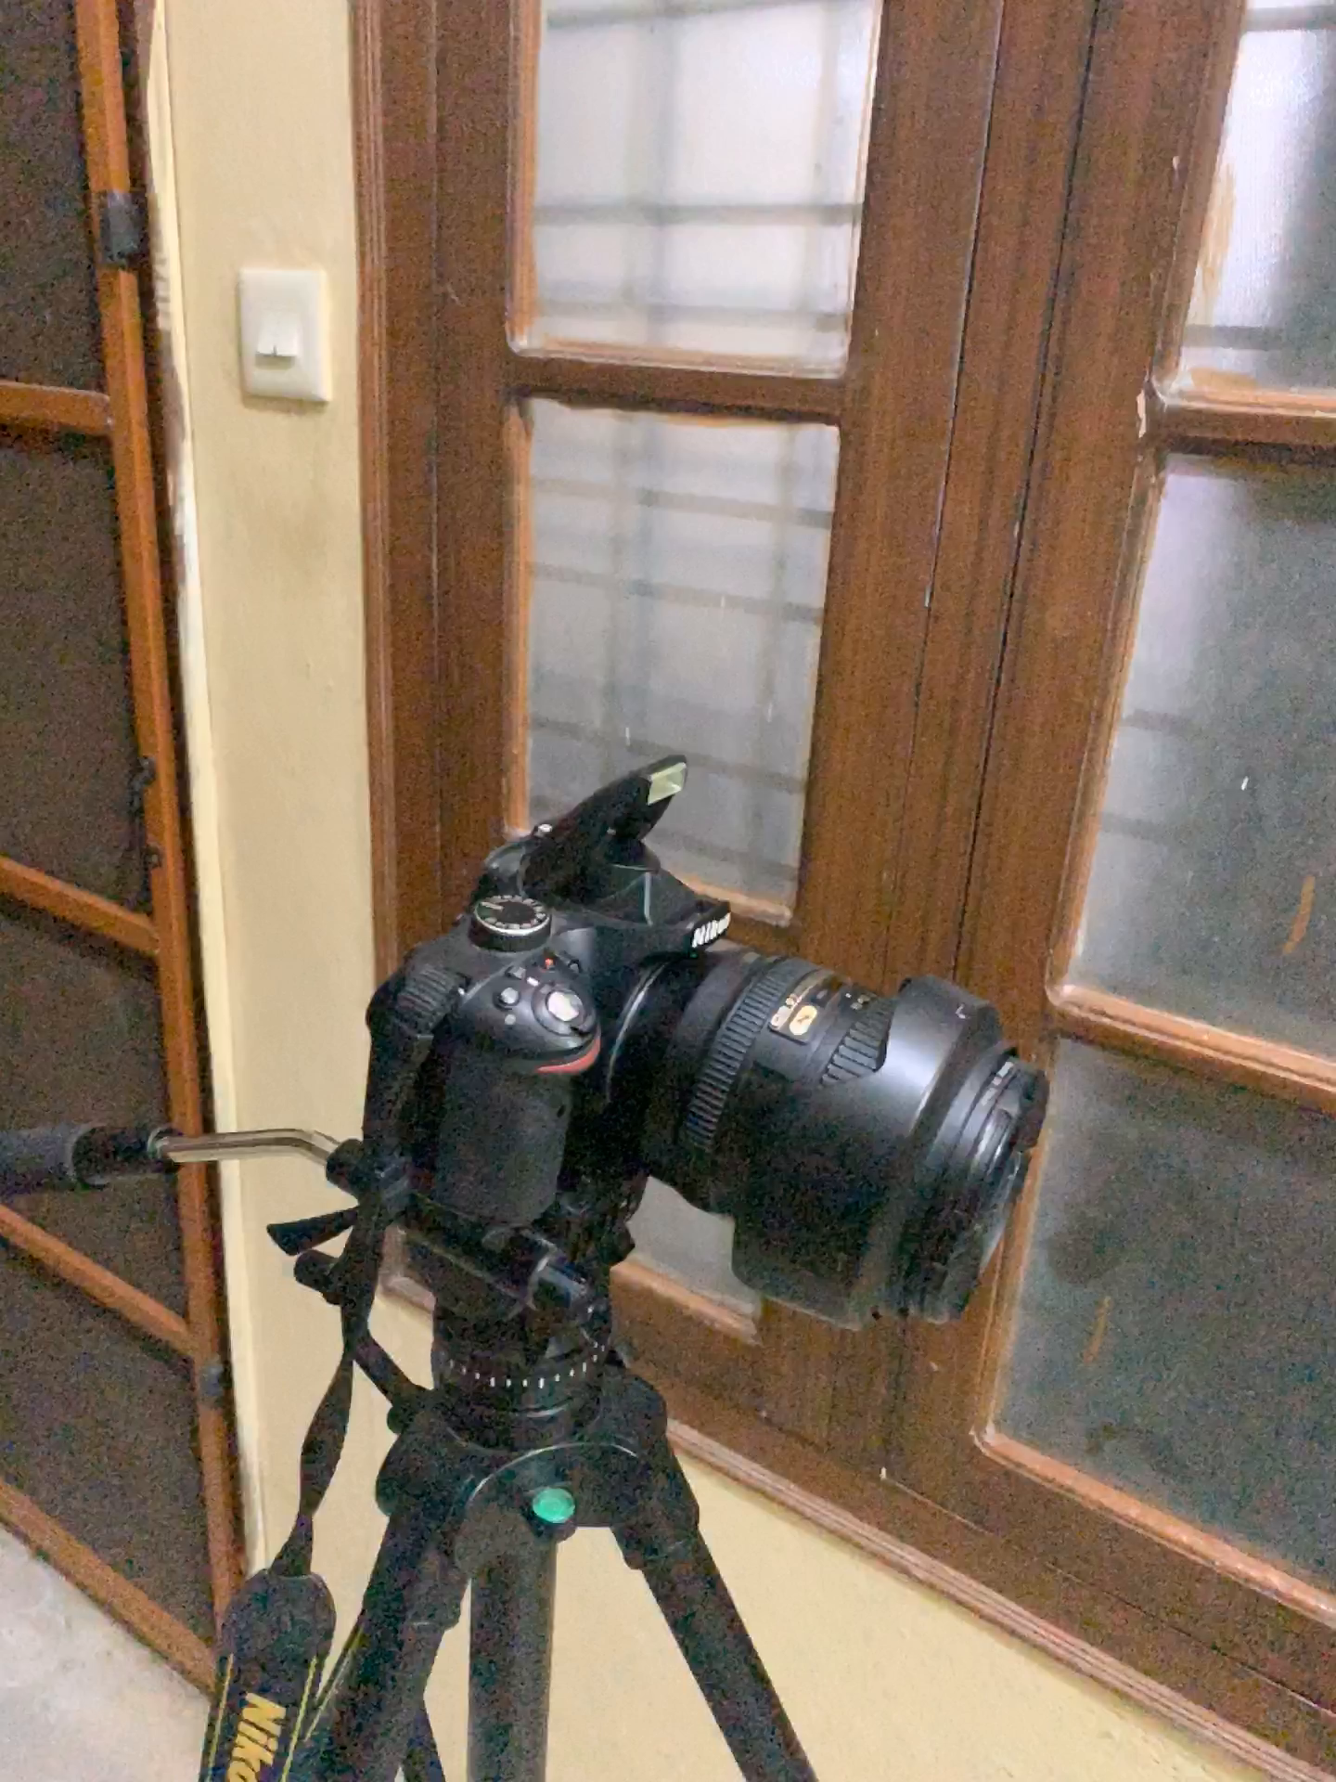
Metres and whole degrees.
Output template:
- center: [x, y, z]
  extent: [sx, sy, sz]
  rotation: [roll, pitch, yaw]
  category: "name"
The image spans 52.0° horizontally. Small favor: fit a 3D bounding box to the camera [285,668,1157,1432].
- center: [0.016, 0.024, 0.411]
  extent: [0.200, 0.129, 0.150]
  rotation: [15, 24, 27]
  category: "camera"
